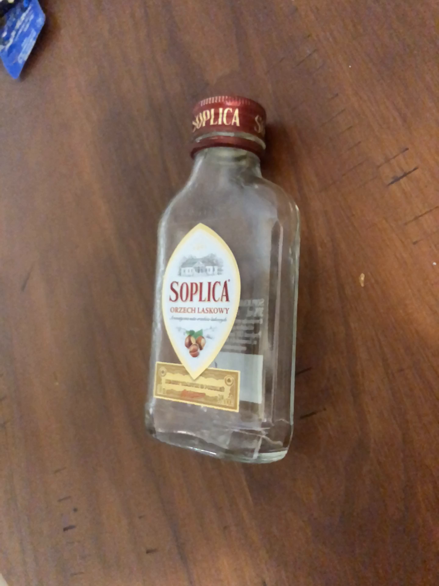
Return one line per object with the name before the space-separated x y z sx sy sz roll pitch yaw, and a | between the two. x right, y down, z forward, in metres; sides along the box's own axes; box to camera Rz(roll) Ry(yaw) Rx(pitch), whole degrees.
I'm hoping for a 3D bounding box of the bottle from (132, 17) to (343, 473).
bottle | 0.006 -0.017 0.194 0.070 0.030 0.150 -1 83 39
